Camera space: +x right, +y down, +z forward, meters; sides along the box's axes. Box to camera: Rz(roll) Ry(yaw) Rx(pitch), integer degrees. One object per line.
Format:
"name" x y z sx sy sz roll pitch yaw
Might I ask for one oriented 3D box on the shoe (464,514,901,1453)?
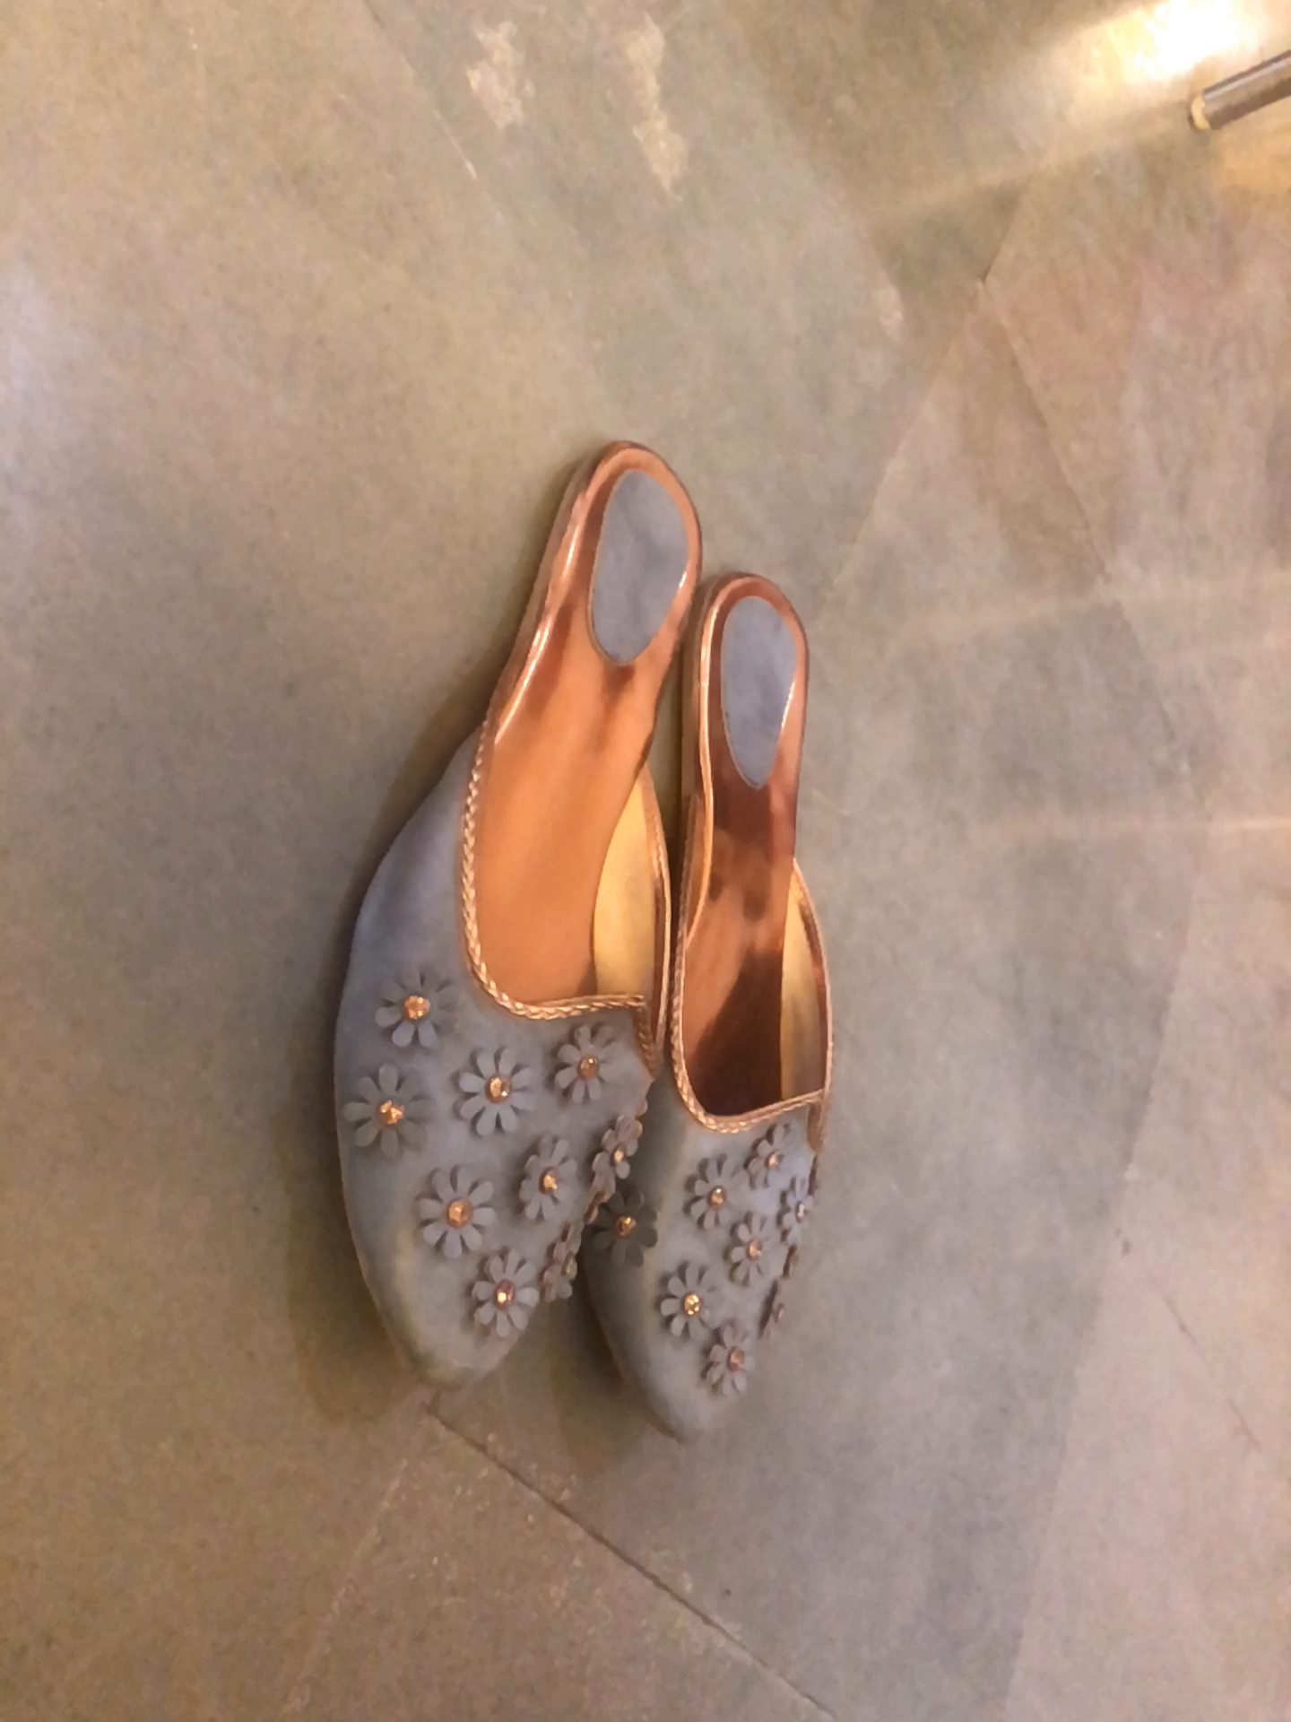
"shoe" 0.020 0.039 0.454 0.101 0.050 0.270 27 66 -47

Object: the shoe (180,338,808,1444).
"shoe" -0.027 0.005 0.389 0.101 0.050 0.270 34 61 -44
